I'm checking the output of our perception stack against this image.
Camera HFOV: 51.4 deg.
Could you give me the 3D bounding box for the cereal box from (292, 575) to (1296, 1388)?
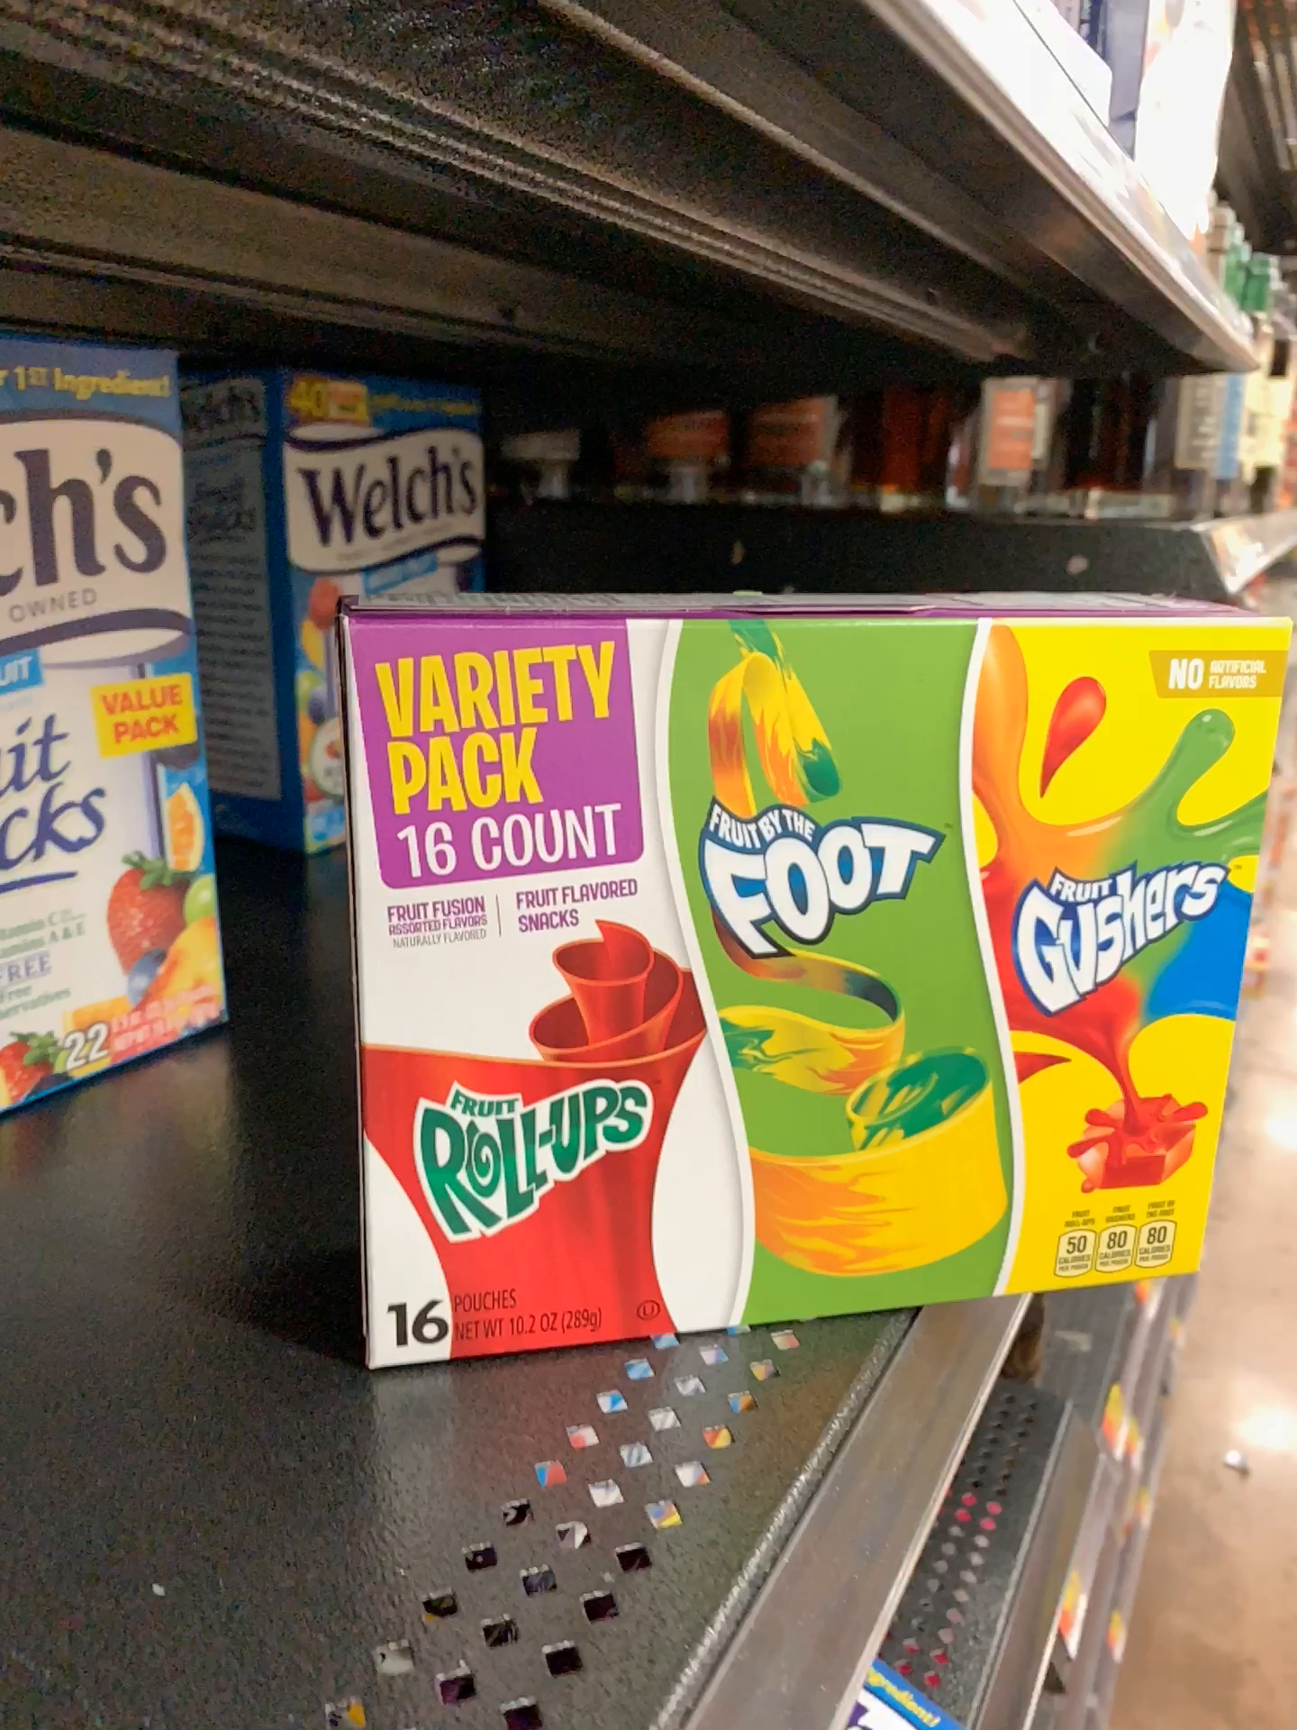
[{"bbox_3d":[0.033,0.021,0.323,0.220,0.169,0.060,-2,16,-12],"label":"cereal box"}]
